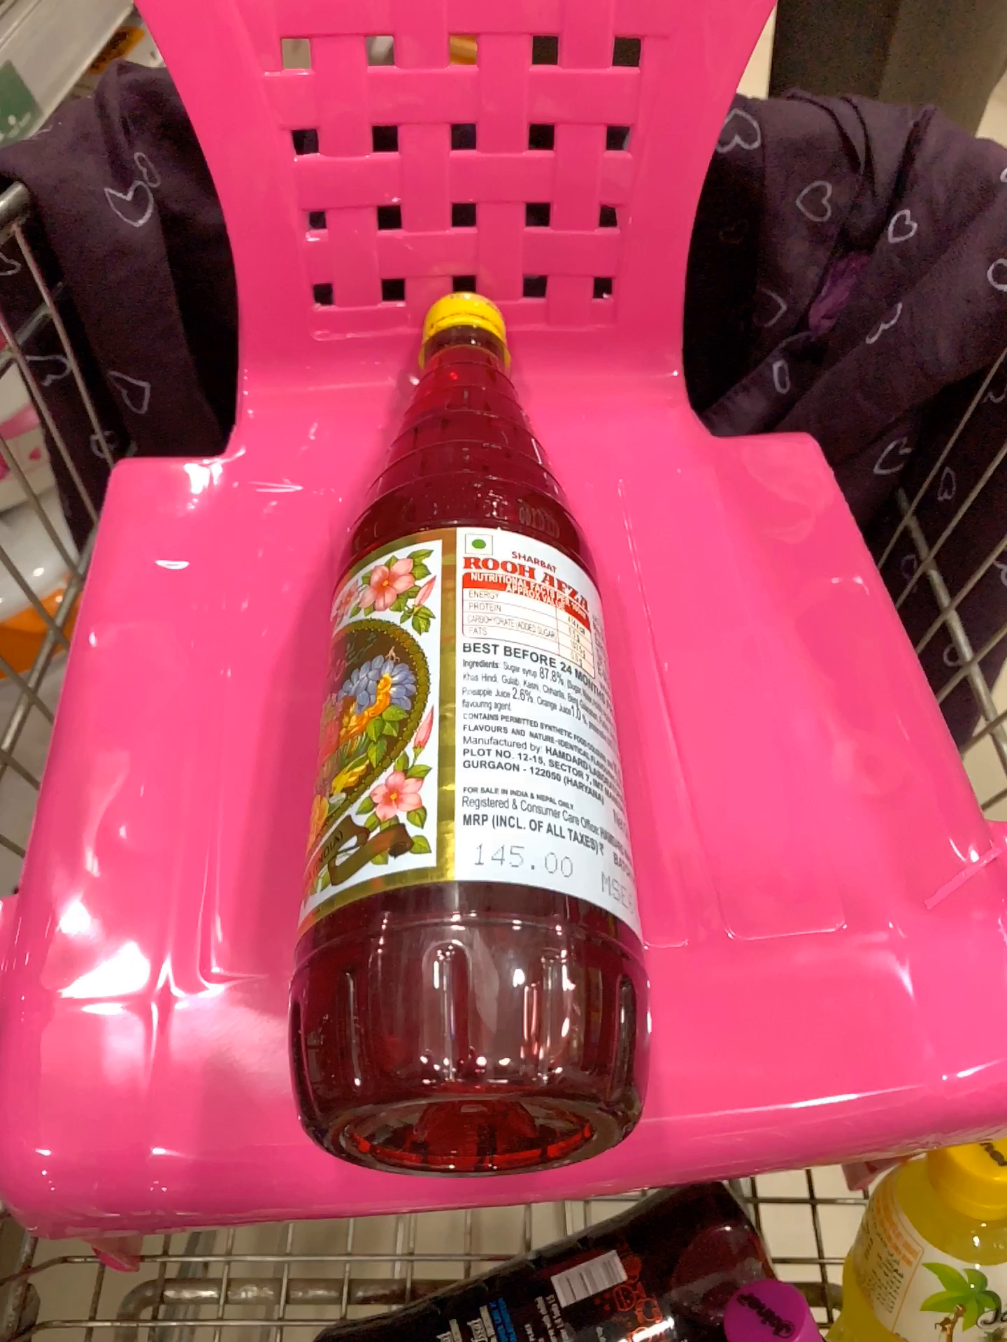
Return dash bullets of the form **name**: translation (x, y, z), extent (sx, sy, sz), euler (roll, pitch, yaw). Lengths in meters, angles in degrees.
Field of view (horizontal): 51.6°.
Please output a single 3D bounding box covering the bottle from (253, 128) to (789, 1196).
- **bottle**: translation (-0.003, -0.020, 0.256), extent (0.080, 0.060, 0.261), euler (9, 56, -16)
